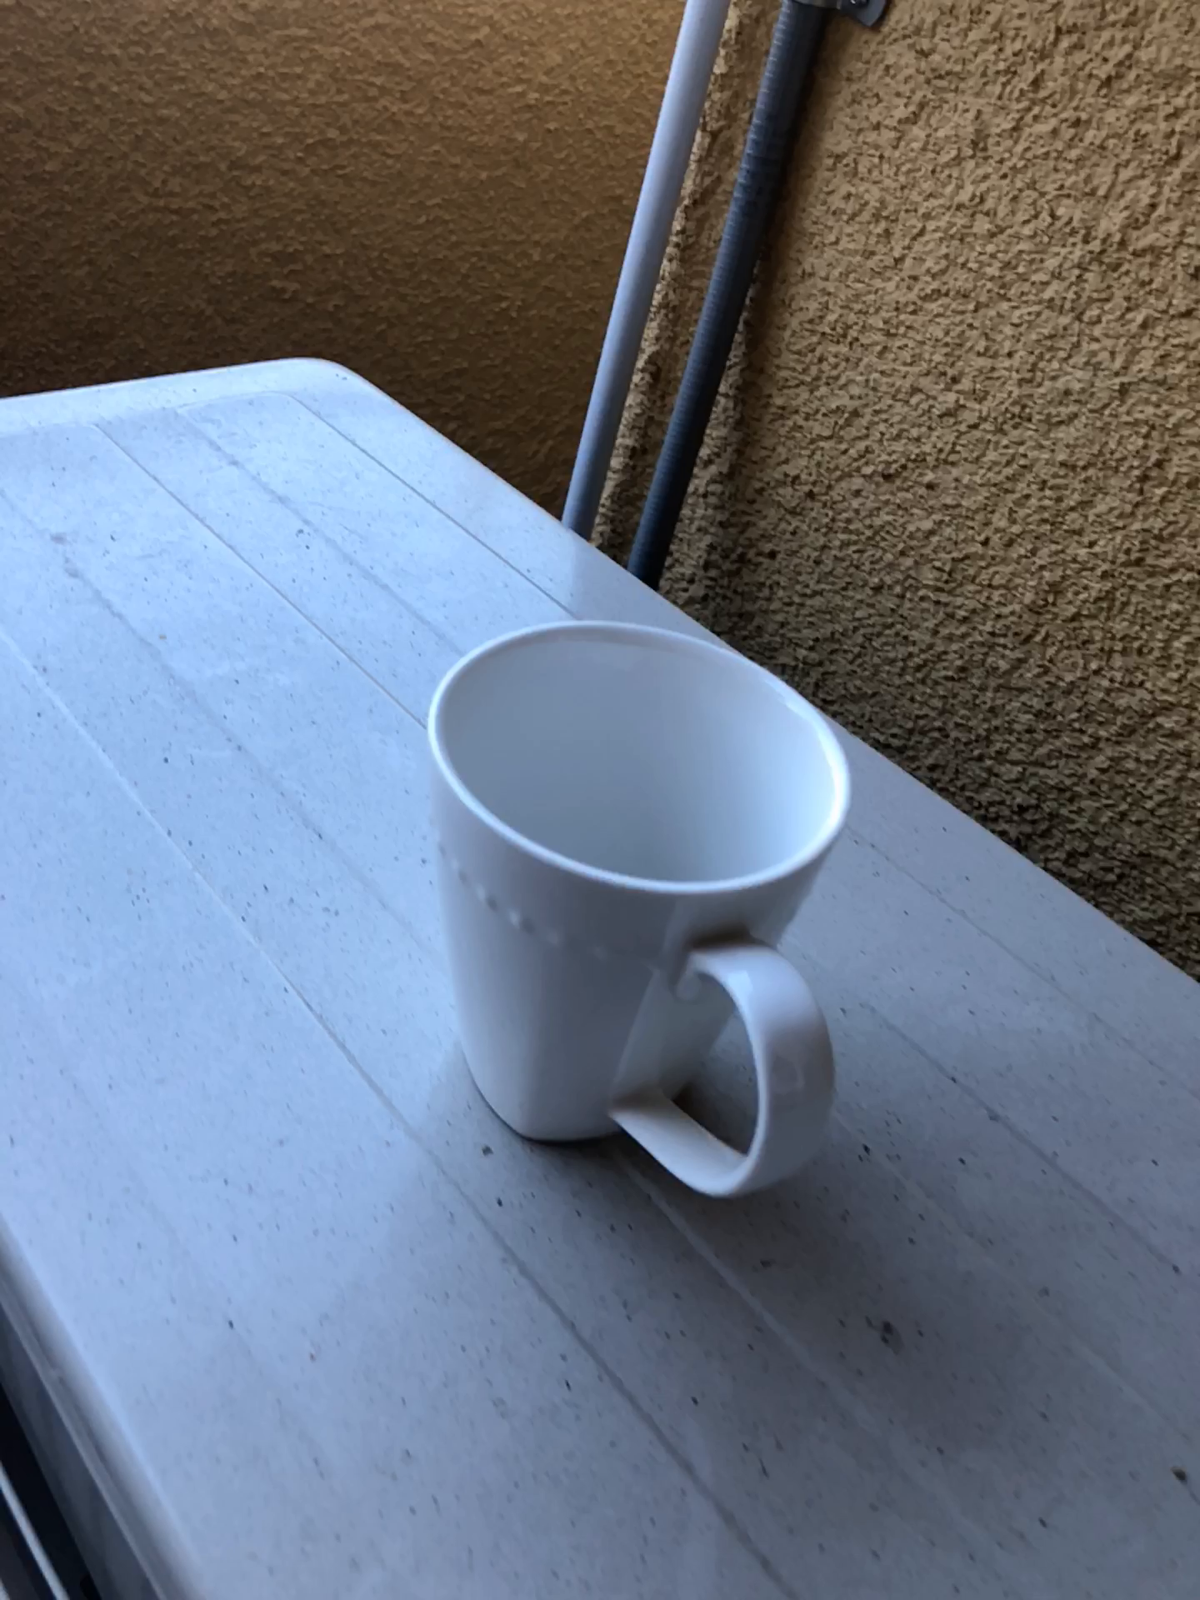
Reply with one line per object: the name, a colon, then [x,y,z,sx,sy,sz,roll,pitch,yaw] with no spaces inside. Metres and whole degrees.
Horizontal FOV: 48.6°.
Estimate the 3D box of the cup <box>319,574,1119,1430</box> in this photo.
cup: [0.012,0.034,0.300,0.100,0.100,0.140,-12,45,-29]
